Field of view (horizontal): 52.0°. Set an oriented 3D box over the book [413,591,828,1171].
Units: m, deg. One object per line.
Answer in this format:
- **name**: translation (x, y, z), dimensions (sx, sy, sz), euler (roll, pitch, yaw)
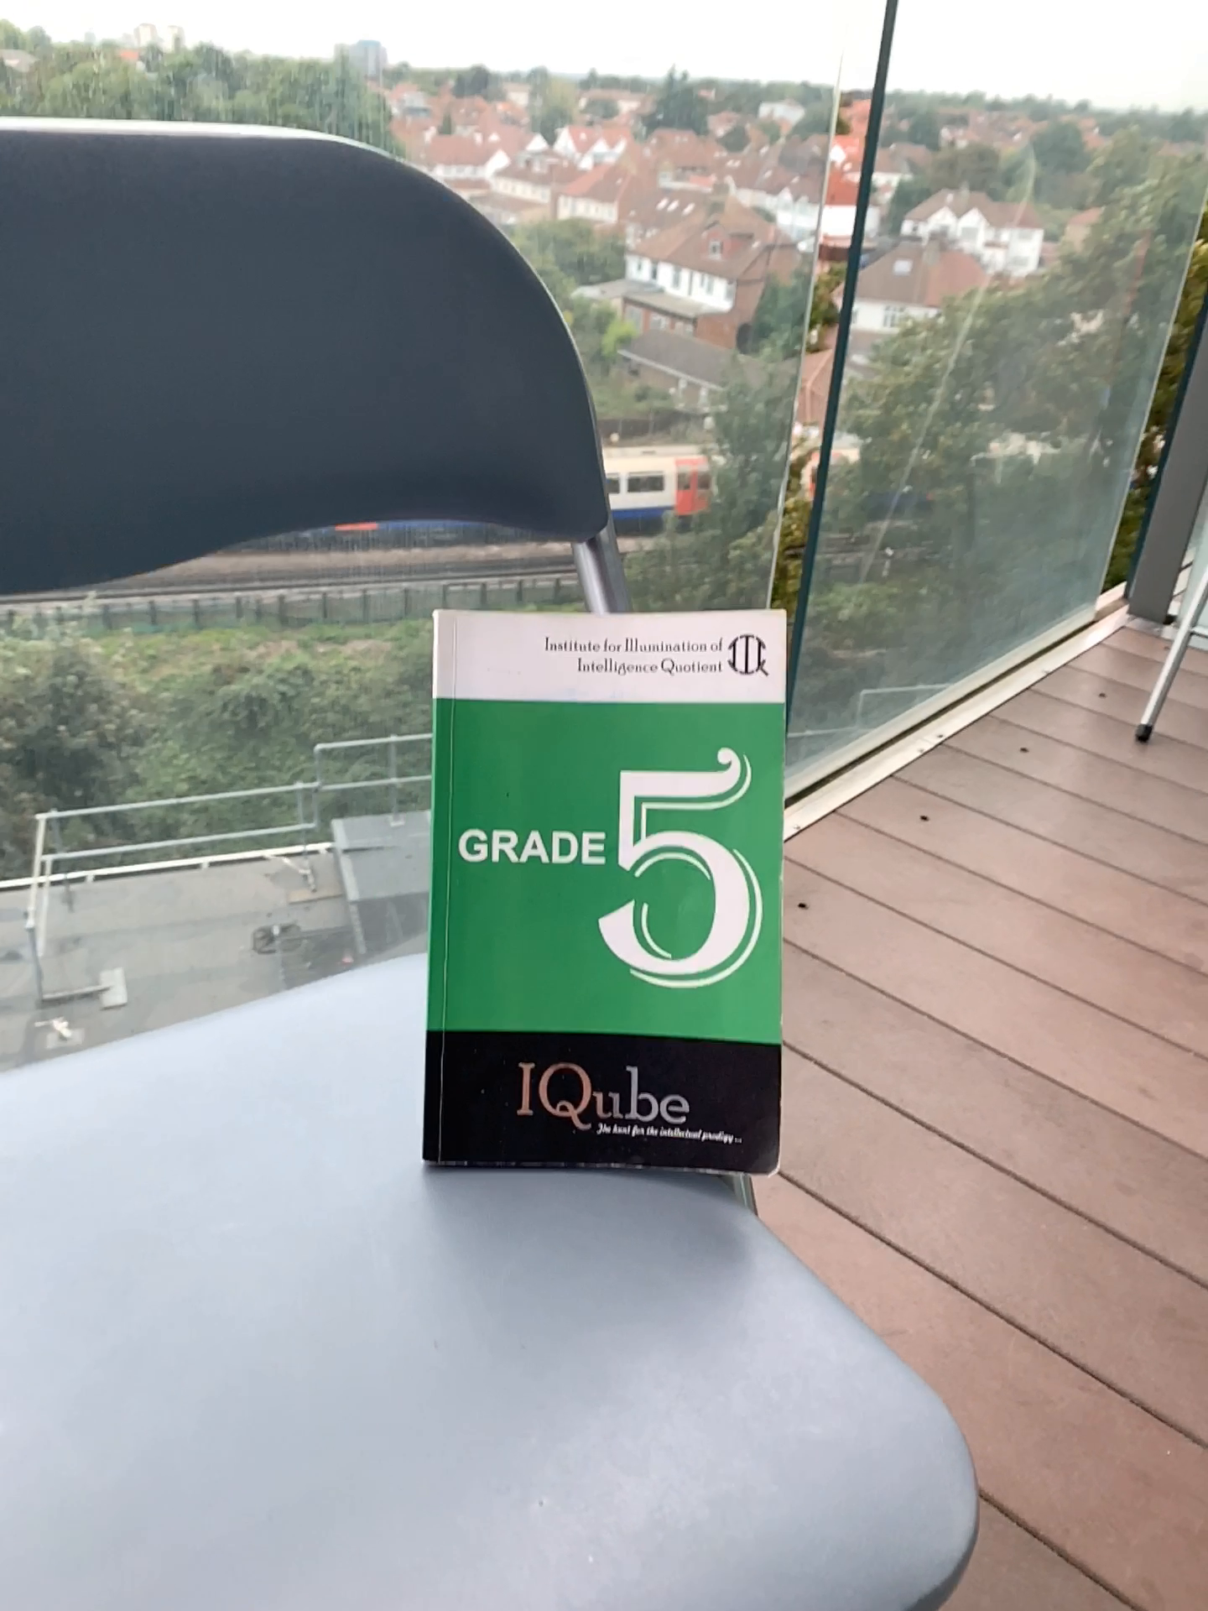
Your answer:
- **book**: translation (0.007, 0.026, 0.473), dimensions (0.150, 0.210, 0.040), euler (0, -3, 2)
